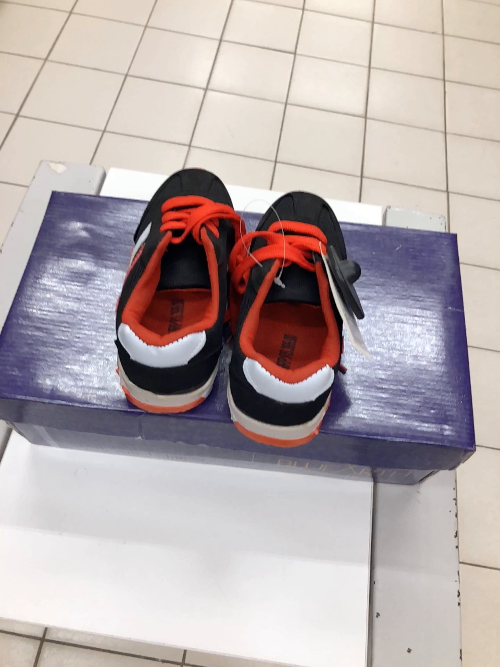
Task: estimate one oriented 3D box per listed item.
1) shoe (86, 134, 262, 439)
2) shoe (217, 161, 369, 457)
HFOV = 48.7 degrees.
[{"bbox_3d":[-0.045,-0.033,0.390,0.080,0.100,0.181,8,61,-2],"label":"shoe"},{"bbox_3d":[0.030,-0.016,0.386,0.080,0.100,0.171,8,61,-2],"label":"shoe"}]
